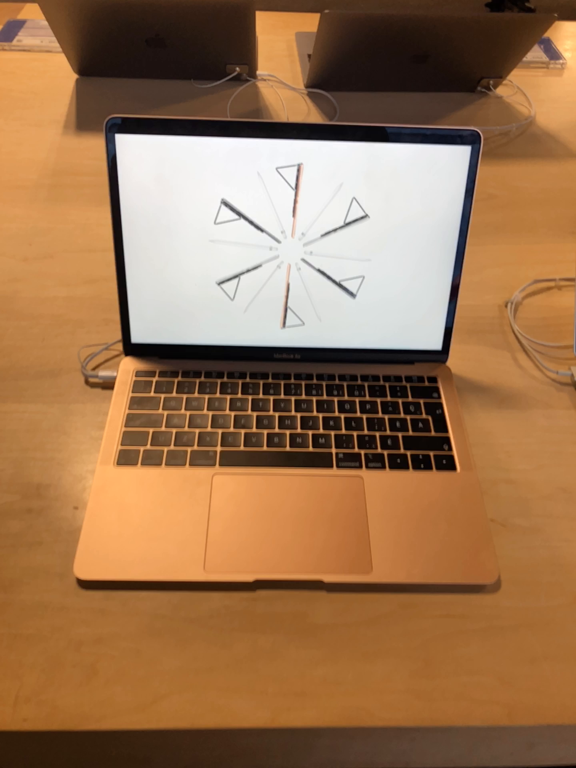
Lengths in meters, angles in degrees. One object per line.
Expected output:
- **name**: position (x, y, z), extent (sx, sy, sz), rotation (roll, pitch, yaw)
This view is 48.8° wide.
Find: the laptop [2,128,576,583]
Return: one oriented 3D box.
- **laptop**: position (0.008, -0.031, 0.468), extent (0.291, 0.183, 0.284), rotation (2, 47, -1)
